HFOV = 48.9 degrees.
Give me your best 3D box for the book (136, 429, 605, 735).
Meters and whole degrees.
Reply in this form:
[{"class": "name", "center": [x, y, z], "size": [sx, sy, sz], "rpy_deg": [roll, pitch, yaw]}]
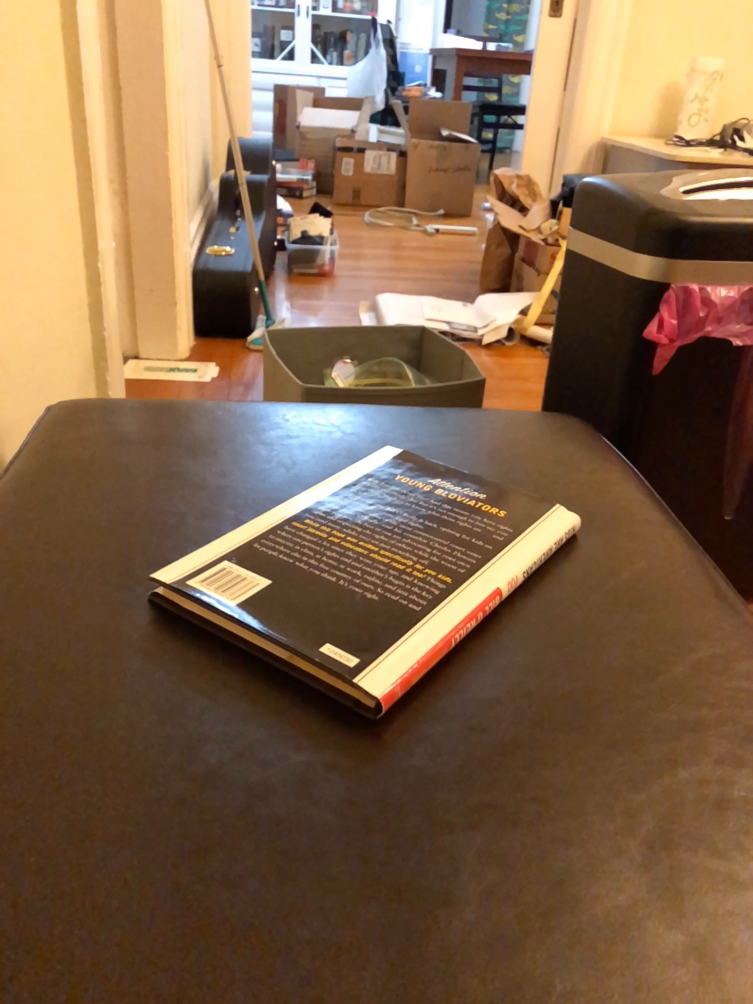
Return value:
[{"class": "book", "center": [0.010, 0.023, 0.466], "size": [0.160, 0.020, 0.231], "rpy_deg": [20, 32, 28]}]
